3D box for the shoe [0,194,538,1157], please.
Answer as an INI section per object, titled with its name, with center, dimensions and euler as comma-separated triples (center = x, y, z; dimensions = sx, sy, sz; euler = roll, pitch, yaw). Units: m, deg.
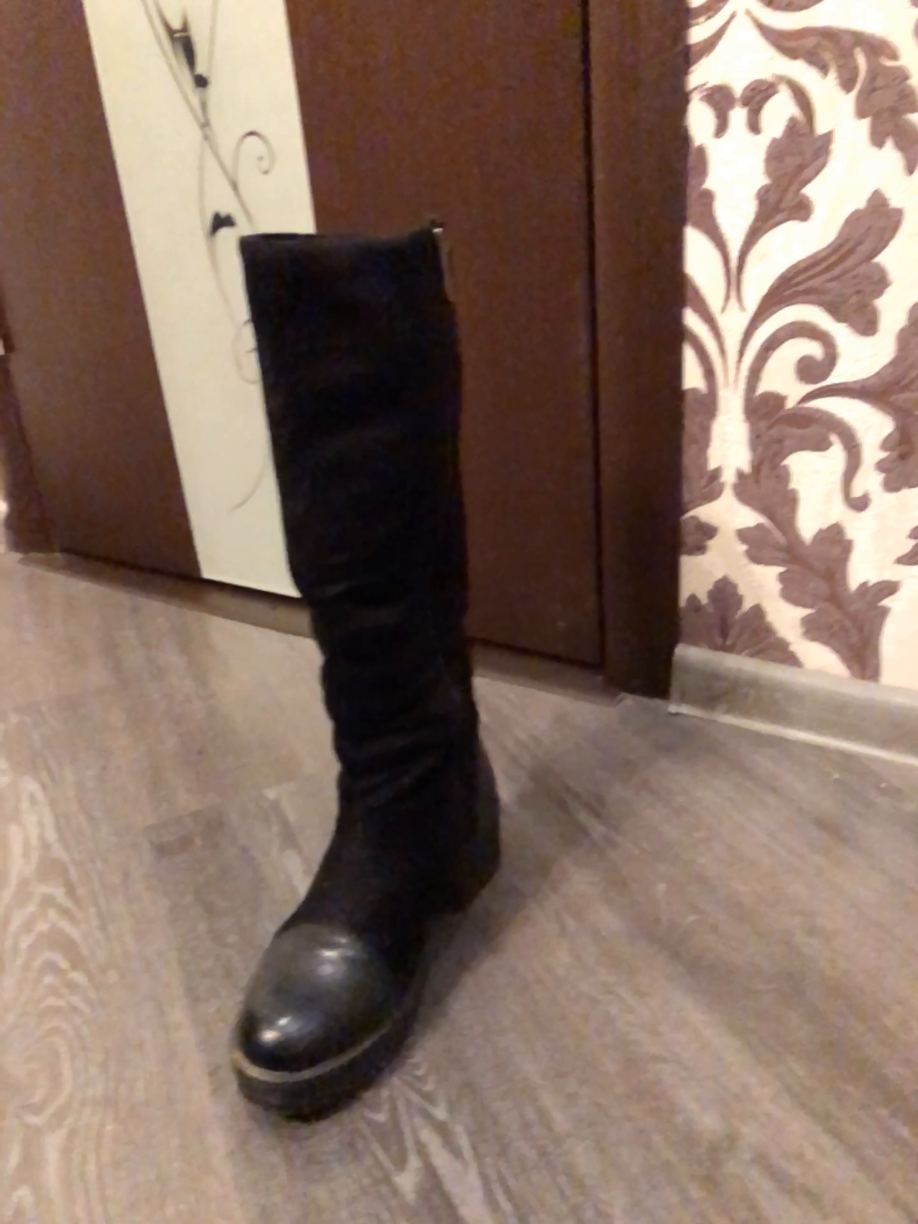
[shoe]
center = -0.059, 0.017, 0.523
dimensions = 0.100, 0.408, 0.251
euler = 5, 26, 23
